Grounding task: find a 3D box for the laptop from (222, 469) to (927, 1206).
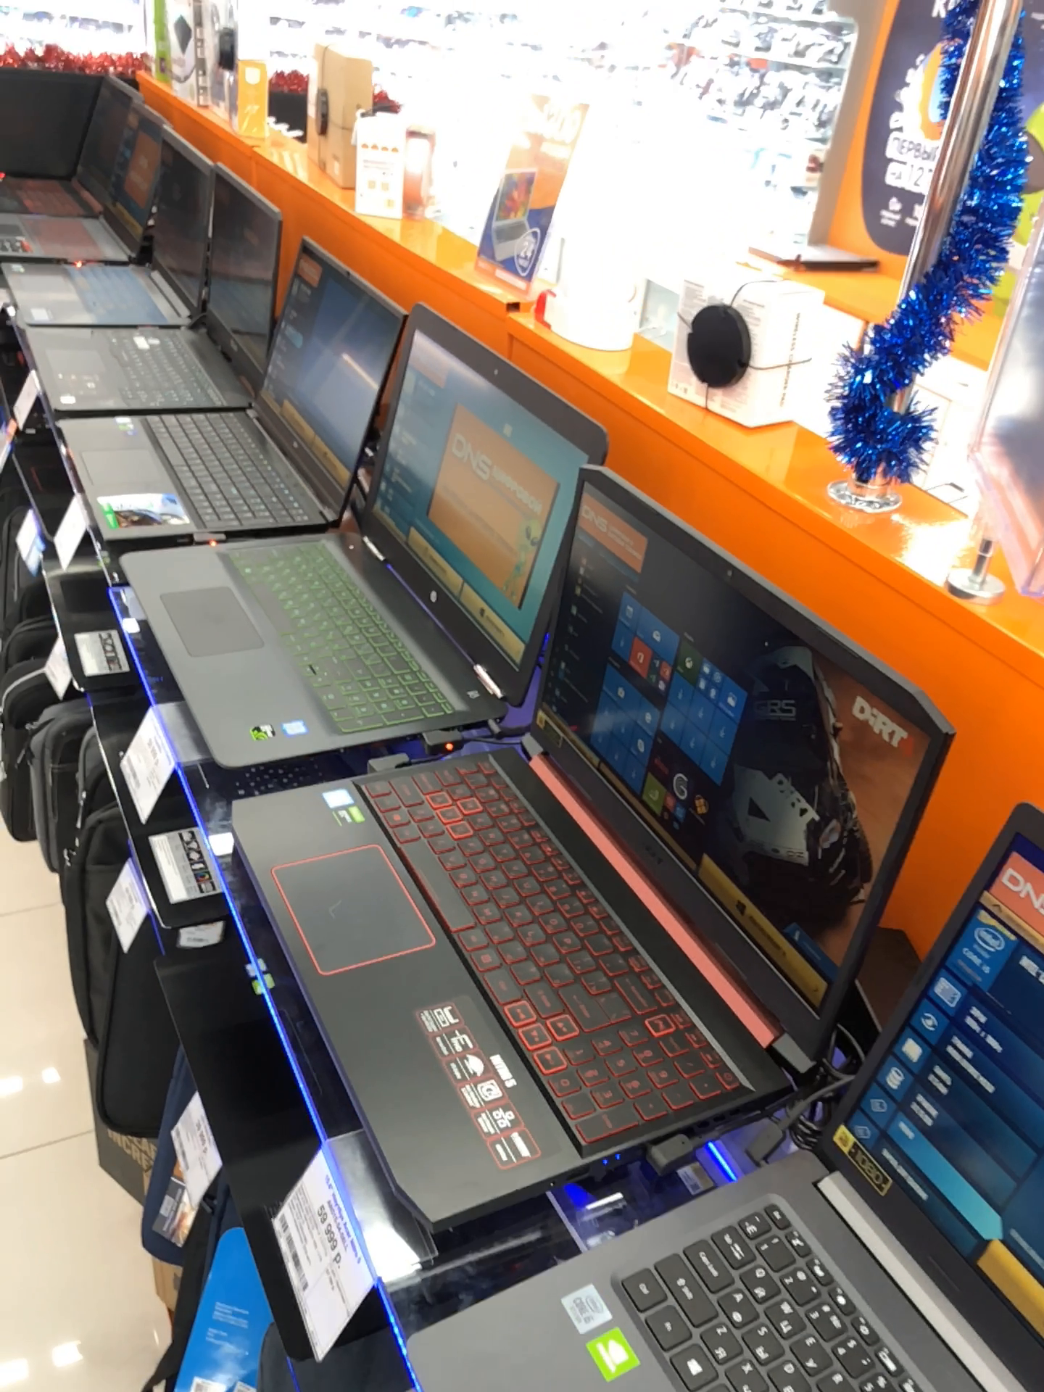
[{"bbox_3d":[-0.006,0.045,0.678,0.251,0.231,0.330,-10,35,-27],"label":"laptop"}]
